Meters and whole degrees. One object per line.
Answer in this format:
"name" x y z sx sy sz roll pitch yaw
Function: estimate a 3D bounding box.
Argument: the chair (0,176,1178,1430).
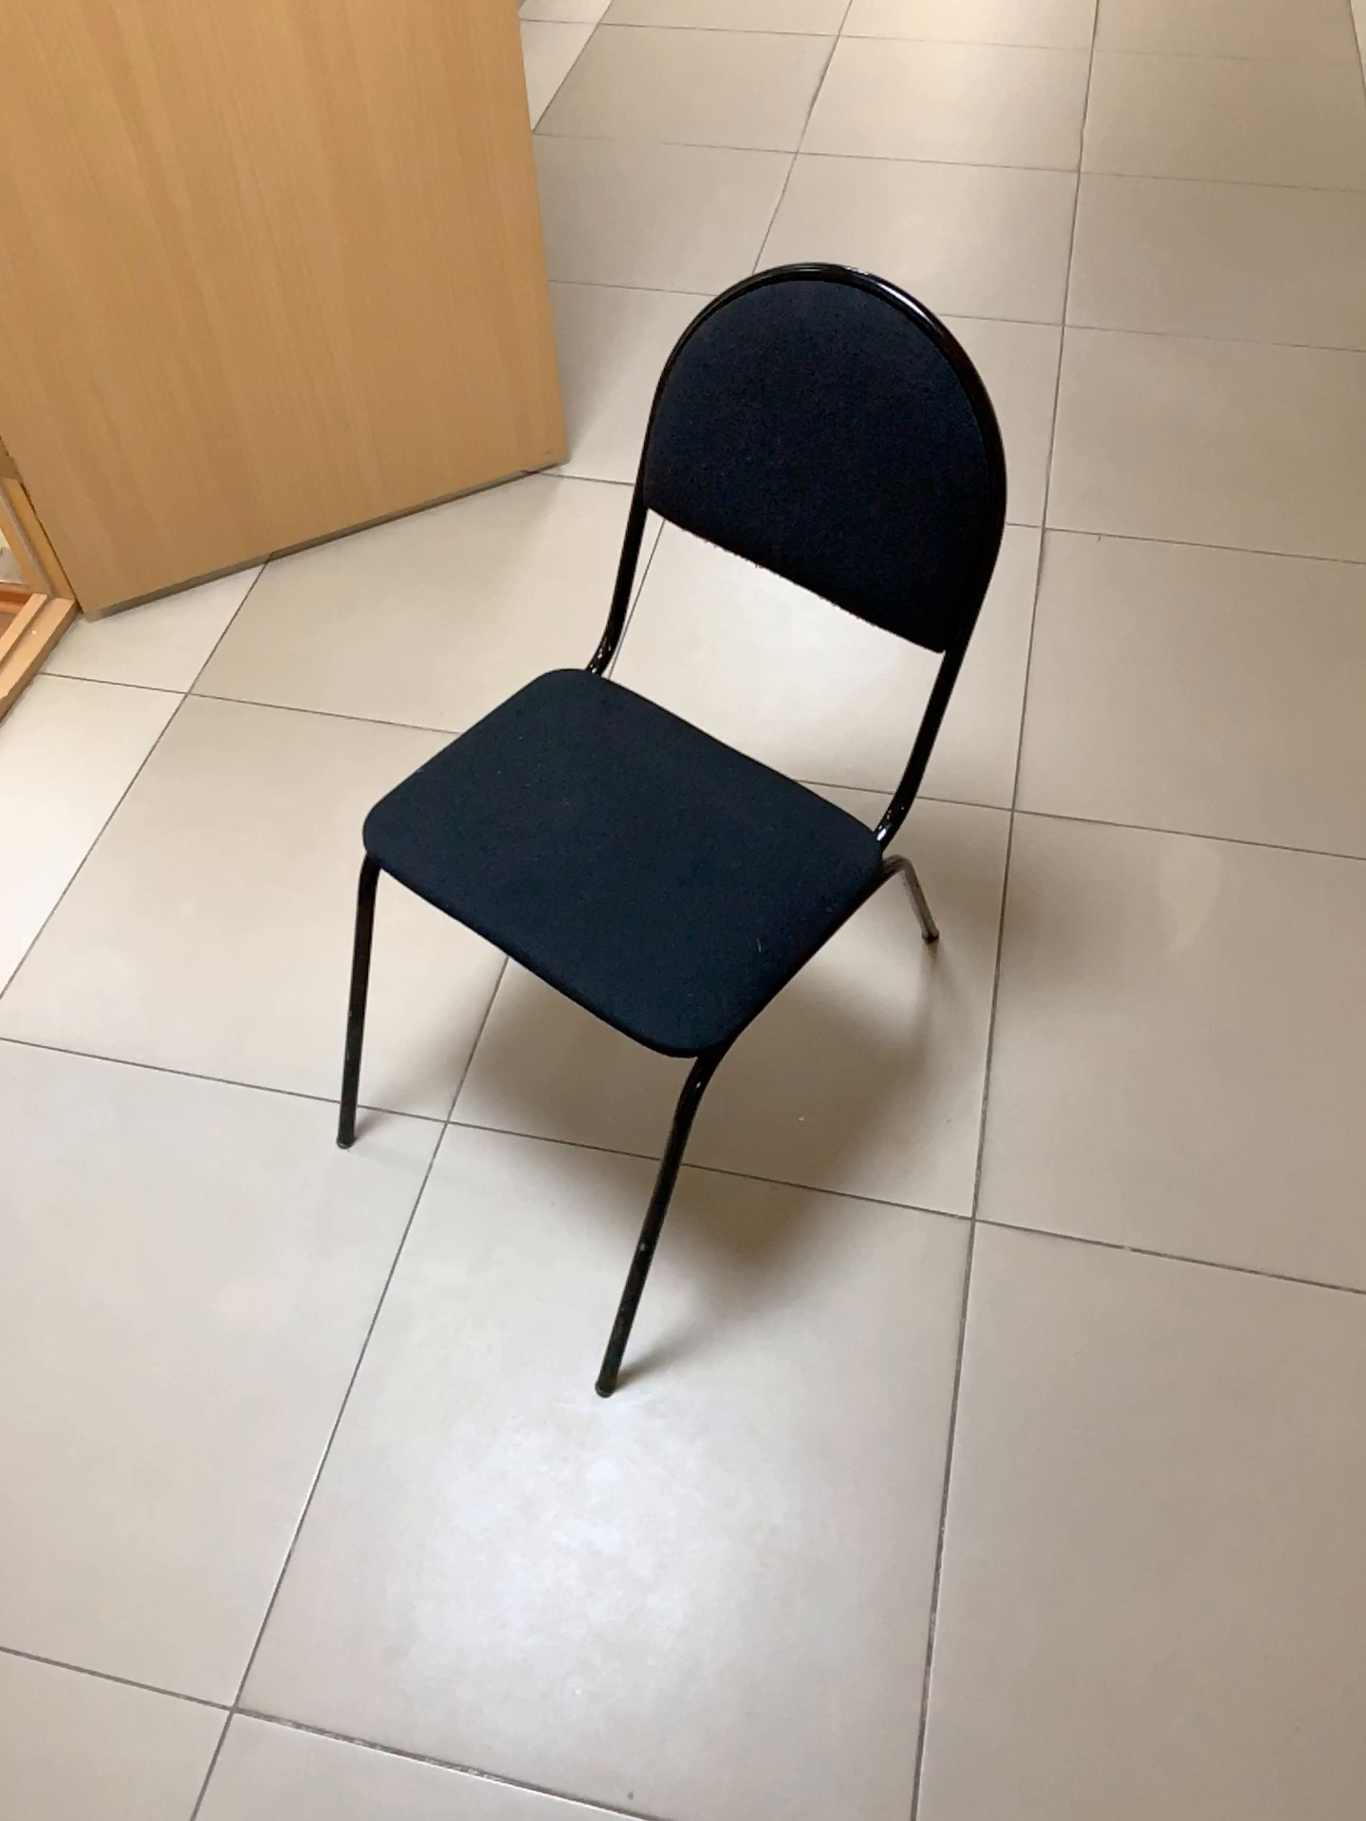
"chair" -0.032 -0.078 1.272 0.482 0.774 0.693 33 60 24
